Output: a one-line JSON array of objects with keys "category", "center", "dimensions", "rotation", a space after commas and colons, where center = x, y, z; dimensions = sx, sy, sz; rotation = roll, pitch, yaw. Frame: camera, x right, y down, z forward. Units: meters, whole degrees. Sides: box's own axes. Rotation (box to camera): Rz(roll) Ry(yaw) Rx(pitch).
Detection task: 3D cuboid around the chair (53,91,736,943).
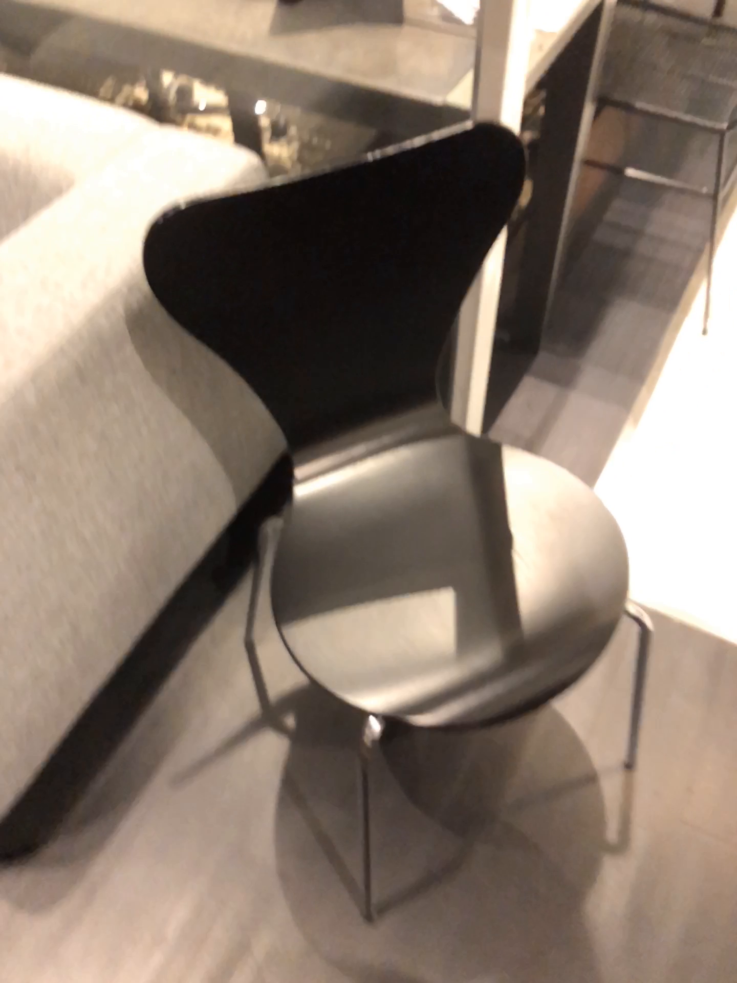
[{"category": "chair", "center": [0.060, 0.094, 0.980], "dimensions": [0.491, 0.805, 0.503], "rotation": [-23, 56, -15]}]
